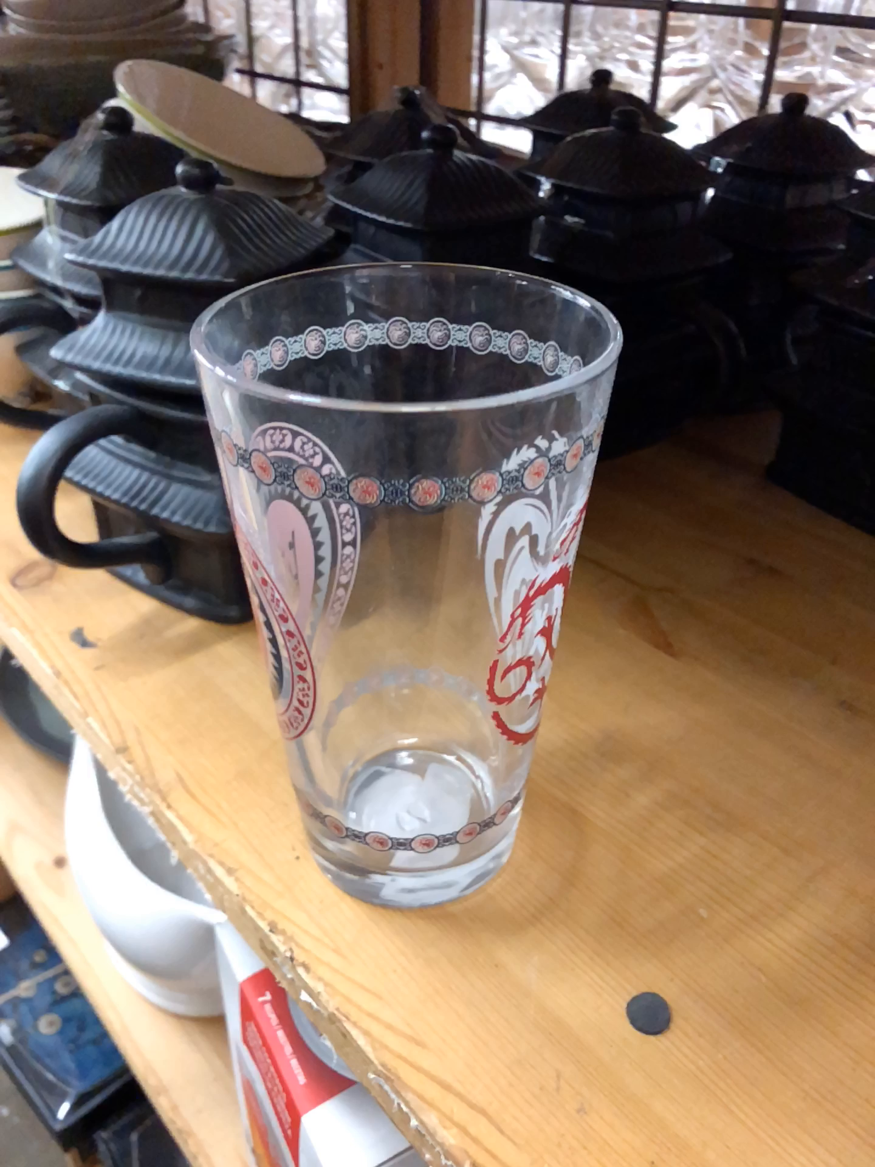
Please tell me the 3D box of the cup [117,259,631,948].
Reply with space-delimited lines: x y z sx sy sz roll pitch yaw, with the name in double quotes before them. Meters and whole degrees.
"cup" -0.008 0.004 0.230 0.084 0.132 0.085 0 33 0
